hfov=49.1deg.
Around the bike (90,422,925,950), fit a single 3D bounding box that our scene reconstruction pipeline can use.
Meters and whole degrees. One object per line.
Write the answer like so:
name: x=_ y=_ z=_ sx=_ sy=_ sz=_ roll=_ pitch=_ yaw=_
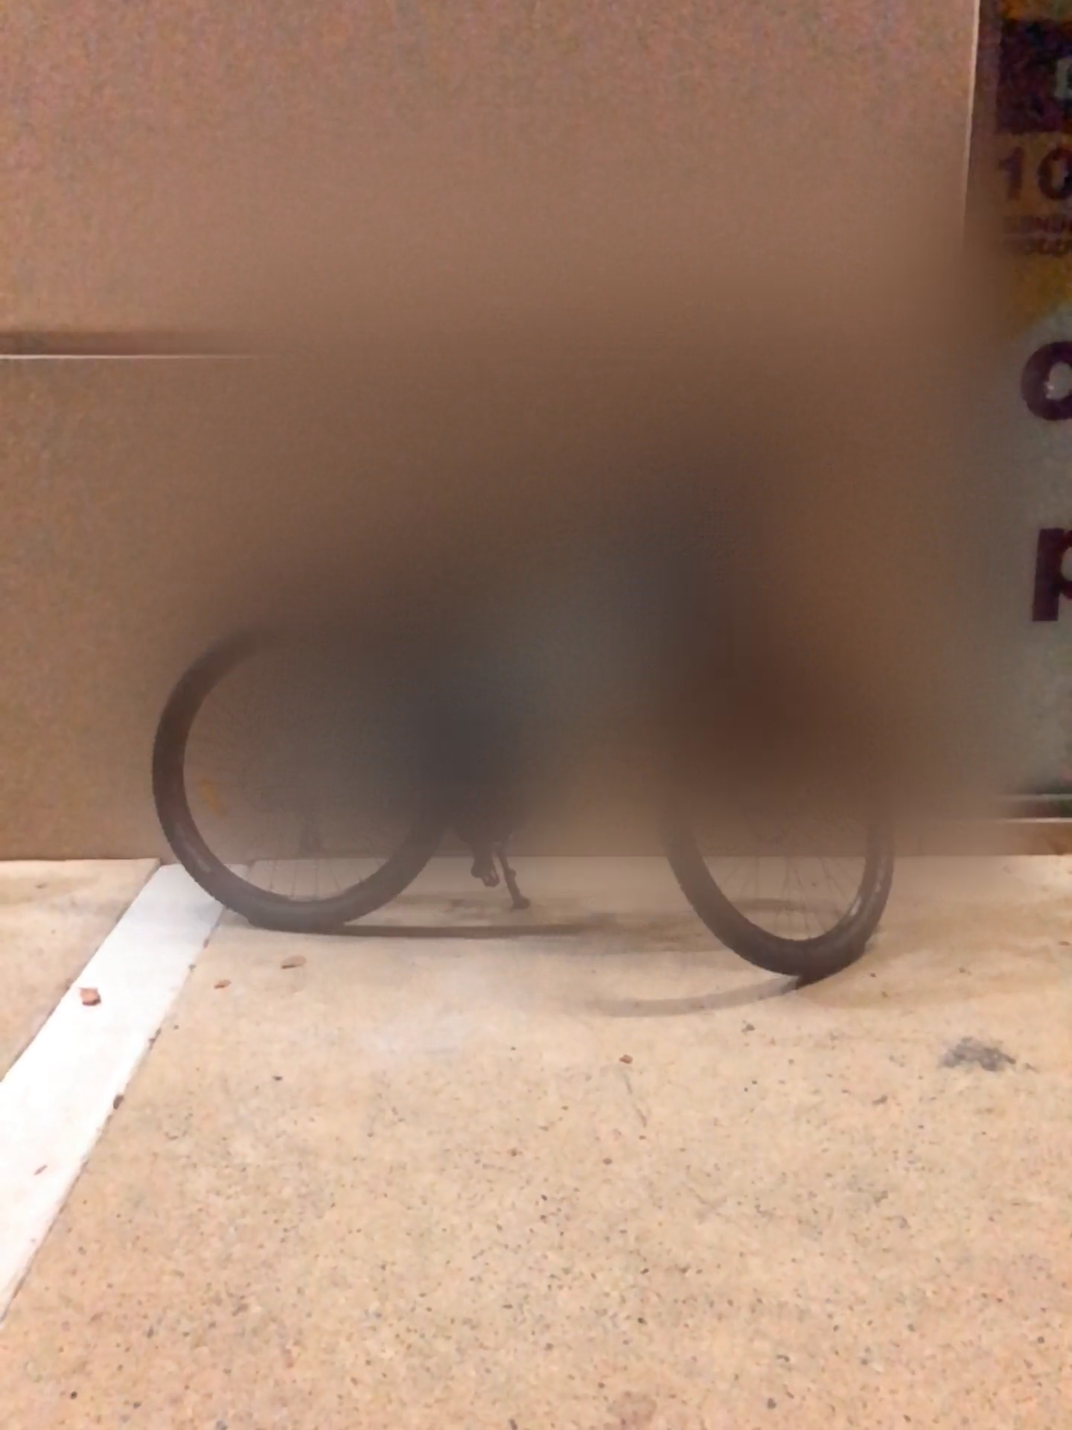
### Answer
bike: x=-0.015 y=-0.100 z=2.656 sx=1.603 sy=1.064 sz=0.589 roll=0 pitch=13 yaw=2
